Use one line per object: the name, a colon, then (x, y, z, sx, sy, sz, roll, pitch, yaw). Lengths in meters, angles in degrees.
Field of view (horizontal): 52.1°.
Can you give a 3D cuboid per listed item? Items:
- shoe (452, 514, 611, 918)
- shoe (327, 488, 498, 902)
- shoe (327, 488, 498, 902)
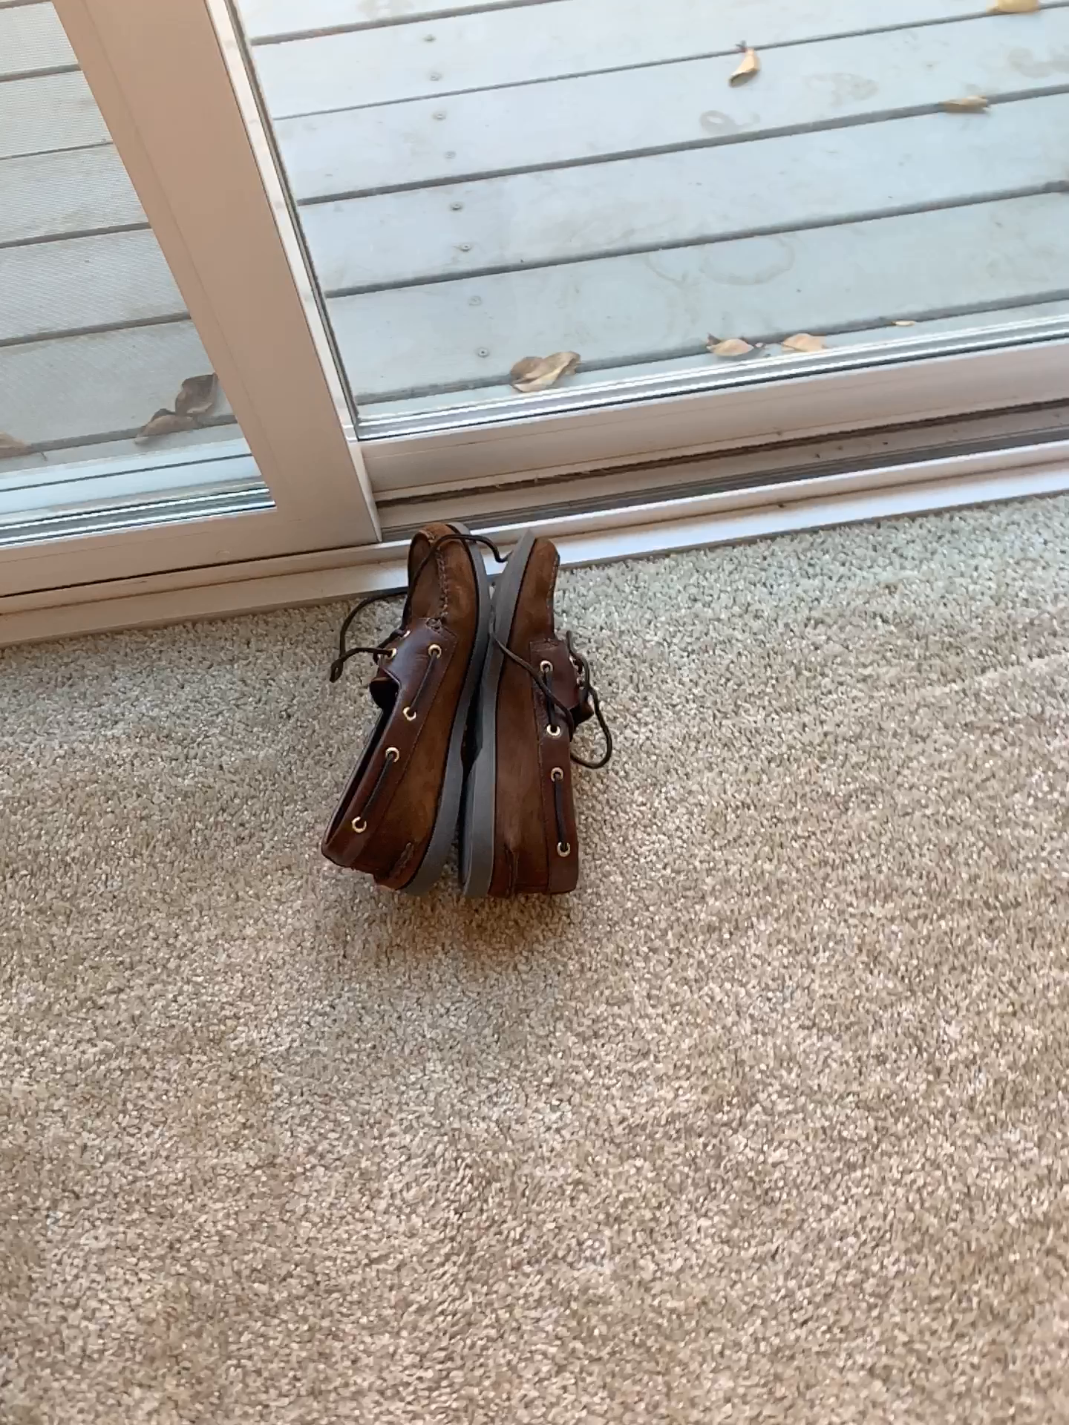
shoe: (-0.001, 0.002, 0.810, 0.090, 0.110, 0.271, 6, 65, -8)
shoe: (-0.090, -0.013, 0.821, 0.090, 0.110, 0.281, 9, 63, -16)
shoe: (-0.090, -0.013, 0.821, 0.090, 0.110, 0.281, 9, 63, -16)
